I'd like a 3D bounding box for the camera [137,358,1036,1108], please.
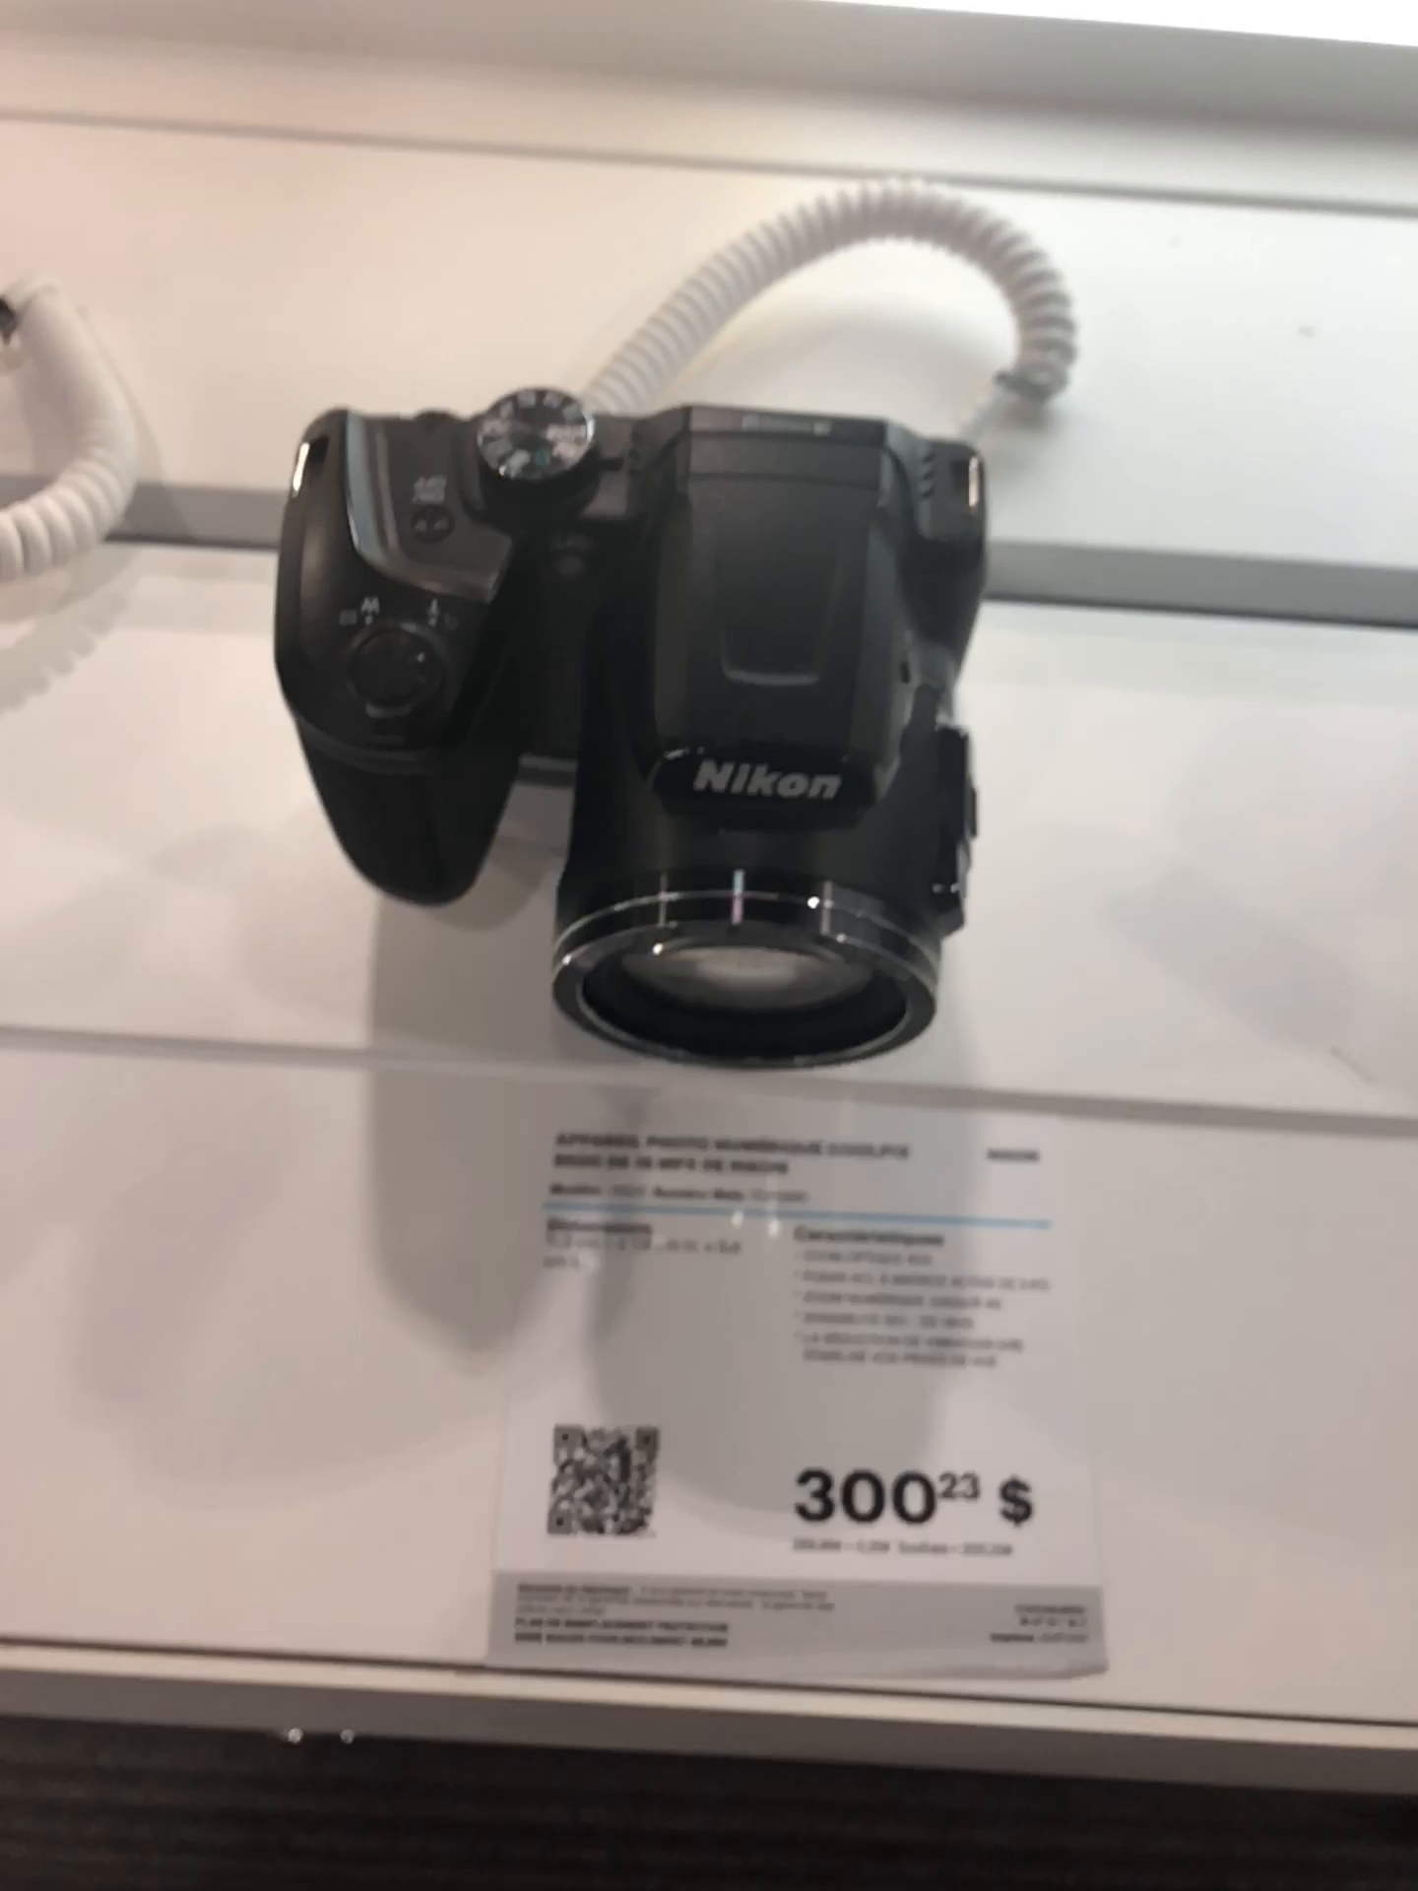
[{"bbox_3d":[-0.015,-0.031,0.247,0.111,0.069,0.085,3,60,-1],"label":"camera"}]
